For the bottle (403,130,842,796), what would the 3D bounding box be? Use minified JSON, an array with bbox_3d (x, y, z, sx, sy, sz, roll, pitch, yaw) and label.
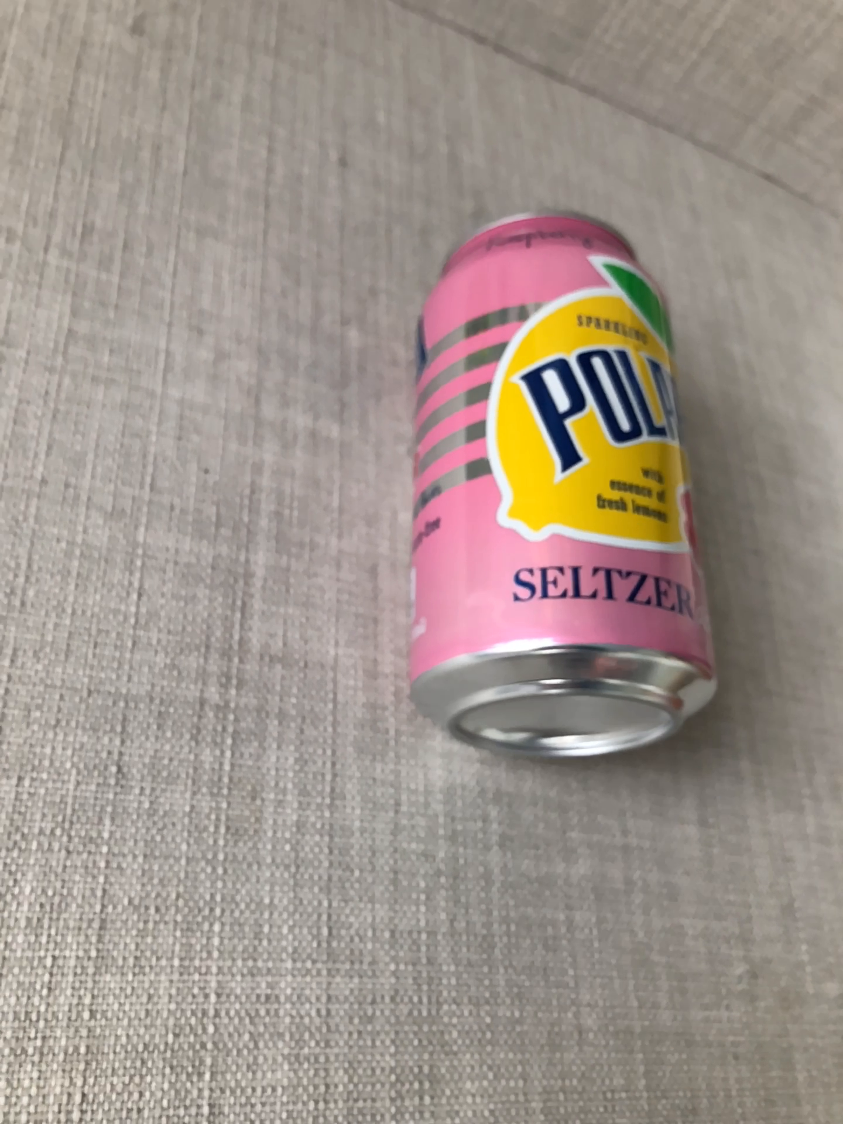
[{"bbox_3d":[0.042,-0.017,0.218,0.070,0.065,0.122,12,63,-26],"label":"bottle"}]
